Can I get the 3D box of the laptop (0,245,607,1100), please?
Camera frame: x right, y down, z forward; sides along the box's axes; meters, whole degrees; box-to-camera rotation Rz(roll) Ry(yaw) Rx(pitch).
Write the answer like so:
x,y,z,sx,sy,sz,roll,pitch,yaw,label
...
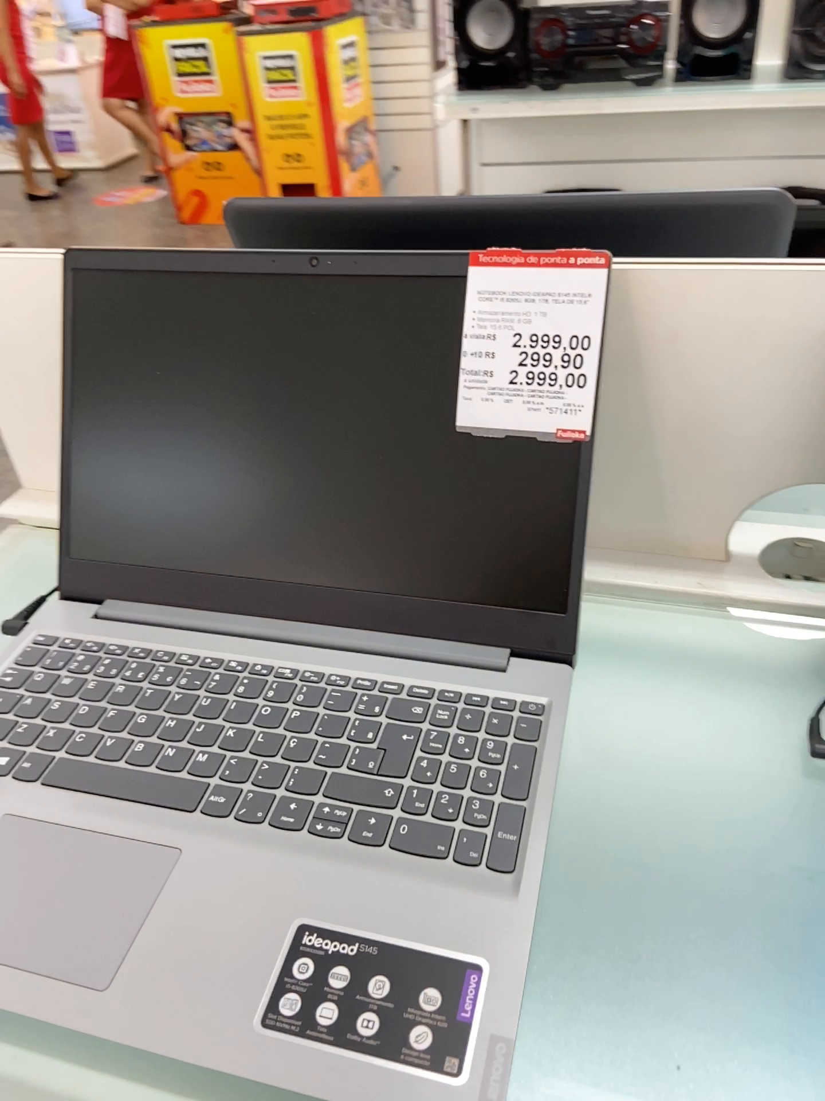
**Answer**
x,y,z,sx,sy,sz,roll,pitch,yaw,label
-0.101,0.004,0.433,0.353,0.195,0.371,6,38,15,laptop
